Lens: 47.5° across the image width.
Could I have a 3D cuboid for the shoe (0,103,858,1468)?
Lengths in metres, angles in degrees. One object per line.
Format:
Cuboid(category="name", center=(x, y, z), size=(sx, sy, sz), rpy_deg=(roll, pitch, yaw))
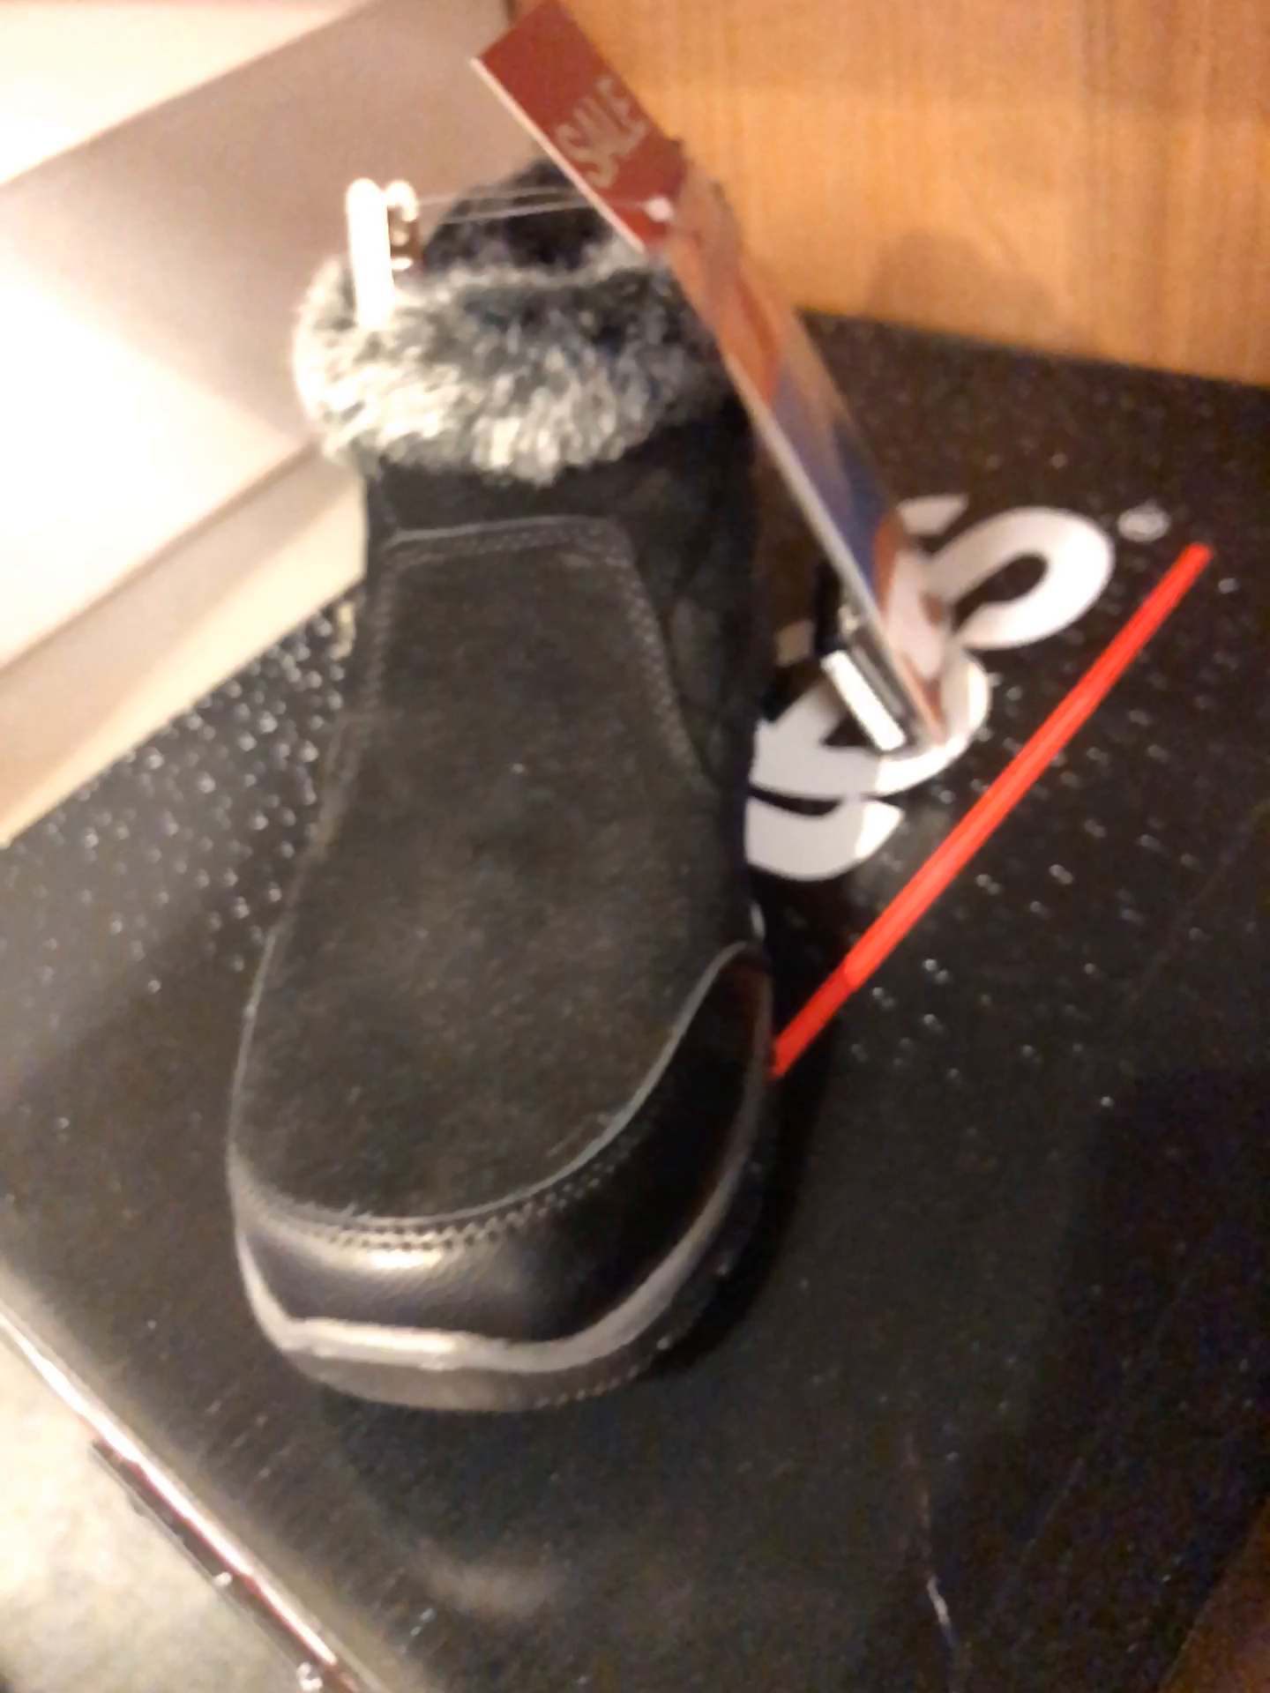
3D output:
Cuboid(category="shoe", center=(-0.019, -0.033, 0.278), size=(0.105, 0.113, 0.250), rpy_deg=(-1, 44, 13))
